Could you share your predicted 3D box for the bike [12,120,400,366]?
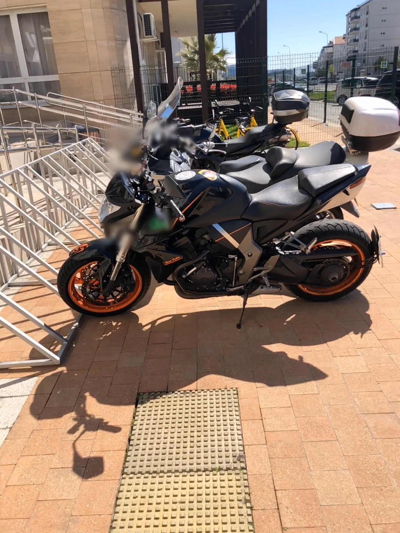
[{"bbox_3d":[0.101,-0.188,2.627,1.949,1.170,0.799,-4,21,-1],"label":"bike"}]
